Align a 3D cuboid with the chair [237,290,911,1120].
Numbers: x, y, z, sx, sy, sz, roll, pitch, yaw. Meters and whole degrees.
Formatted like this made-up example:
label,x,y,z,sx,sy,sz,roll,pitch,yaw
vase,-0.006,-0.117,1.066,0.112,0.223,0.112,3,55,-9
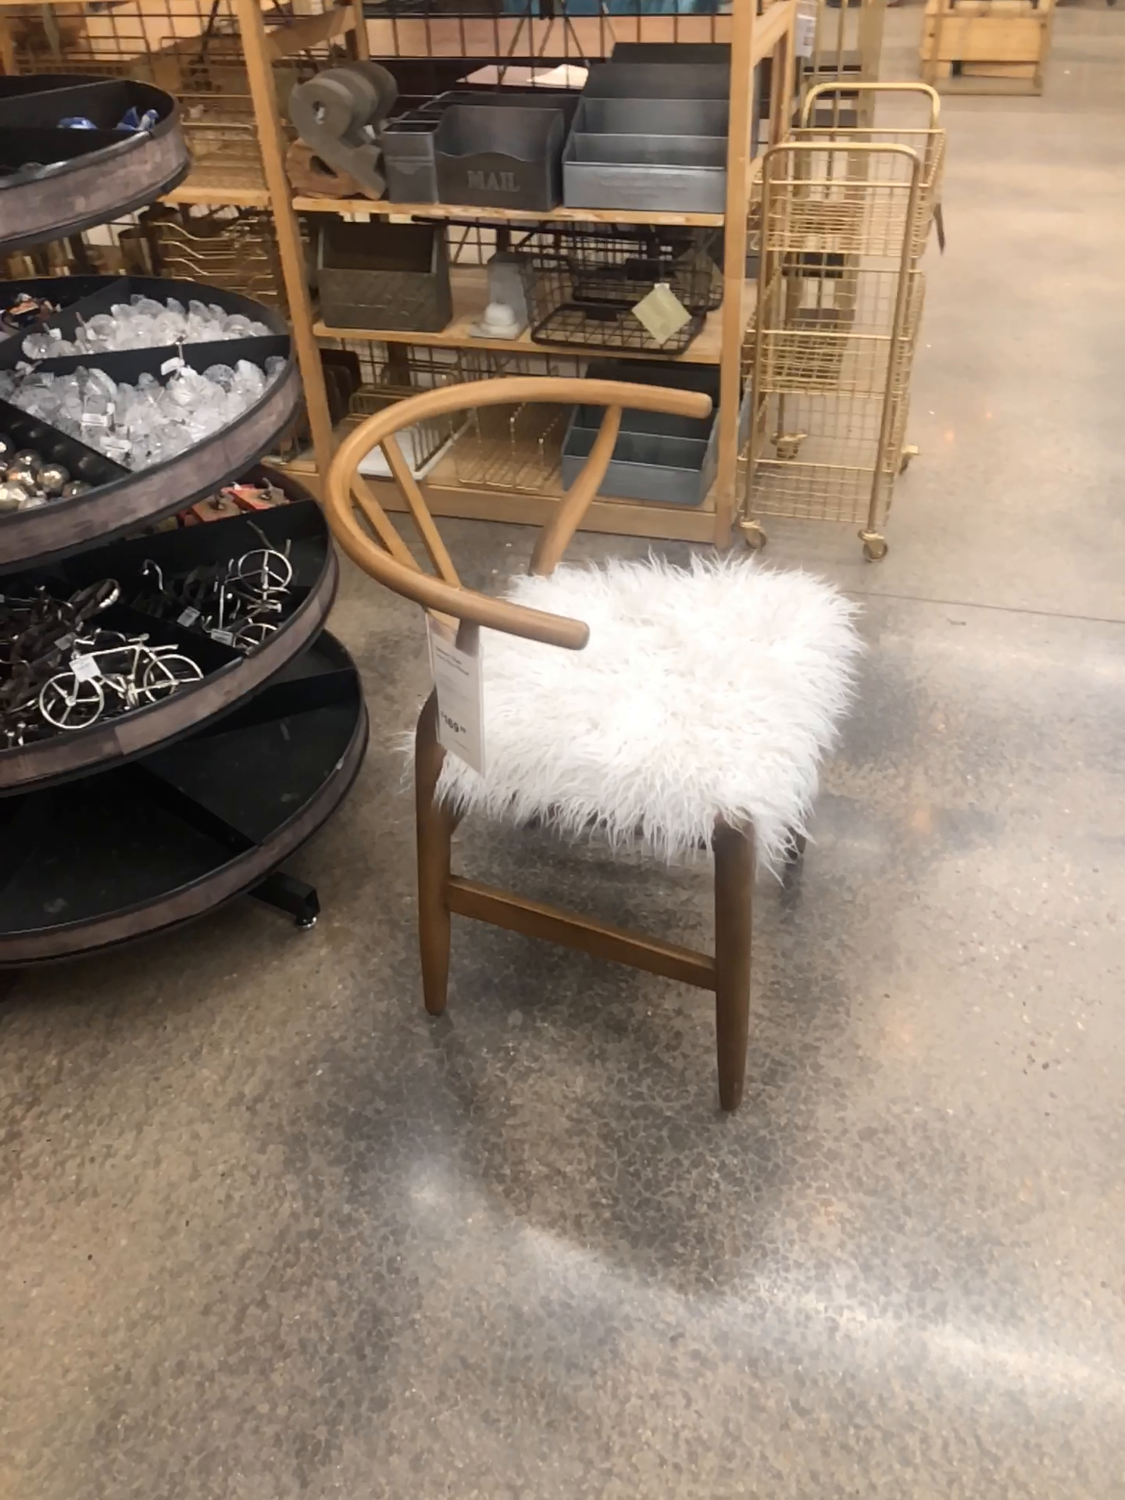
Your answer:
label,x,y,z,sx,sy,sz,roll,pitch,yaw
chair,0.060,-0.073,1.490,0.528,0.731,0.560,12,41,18
